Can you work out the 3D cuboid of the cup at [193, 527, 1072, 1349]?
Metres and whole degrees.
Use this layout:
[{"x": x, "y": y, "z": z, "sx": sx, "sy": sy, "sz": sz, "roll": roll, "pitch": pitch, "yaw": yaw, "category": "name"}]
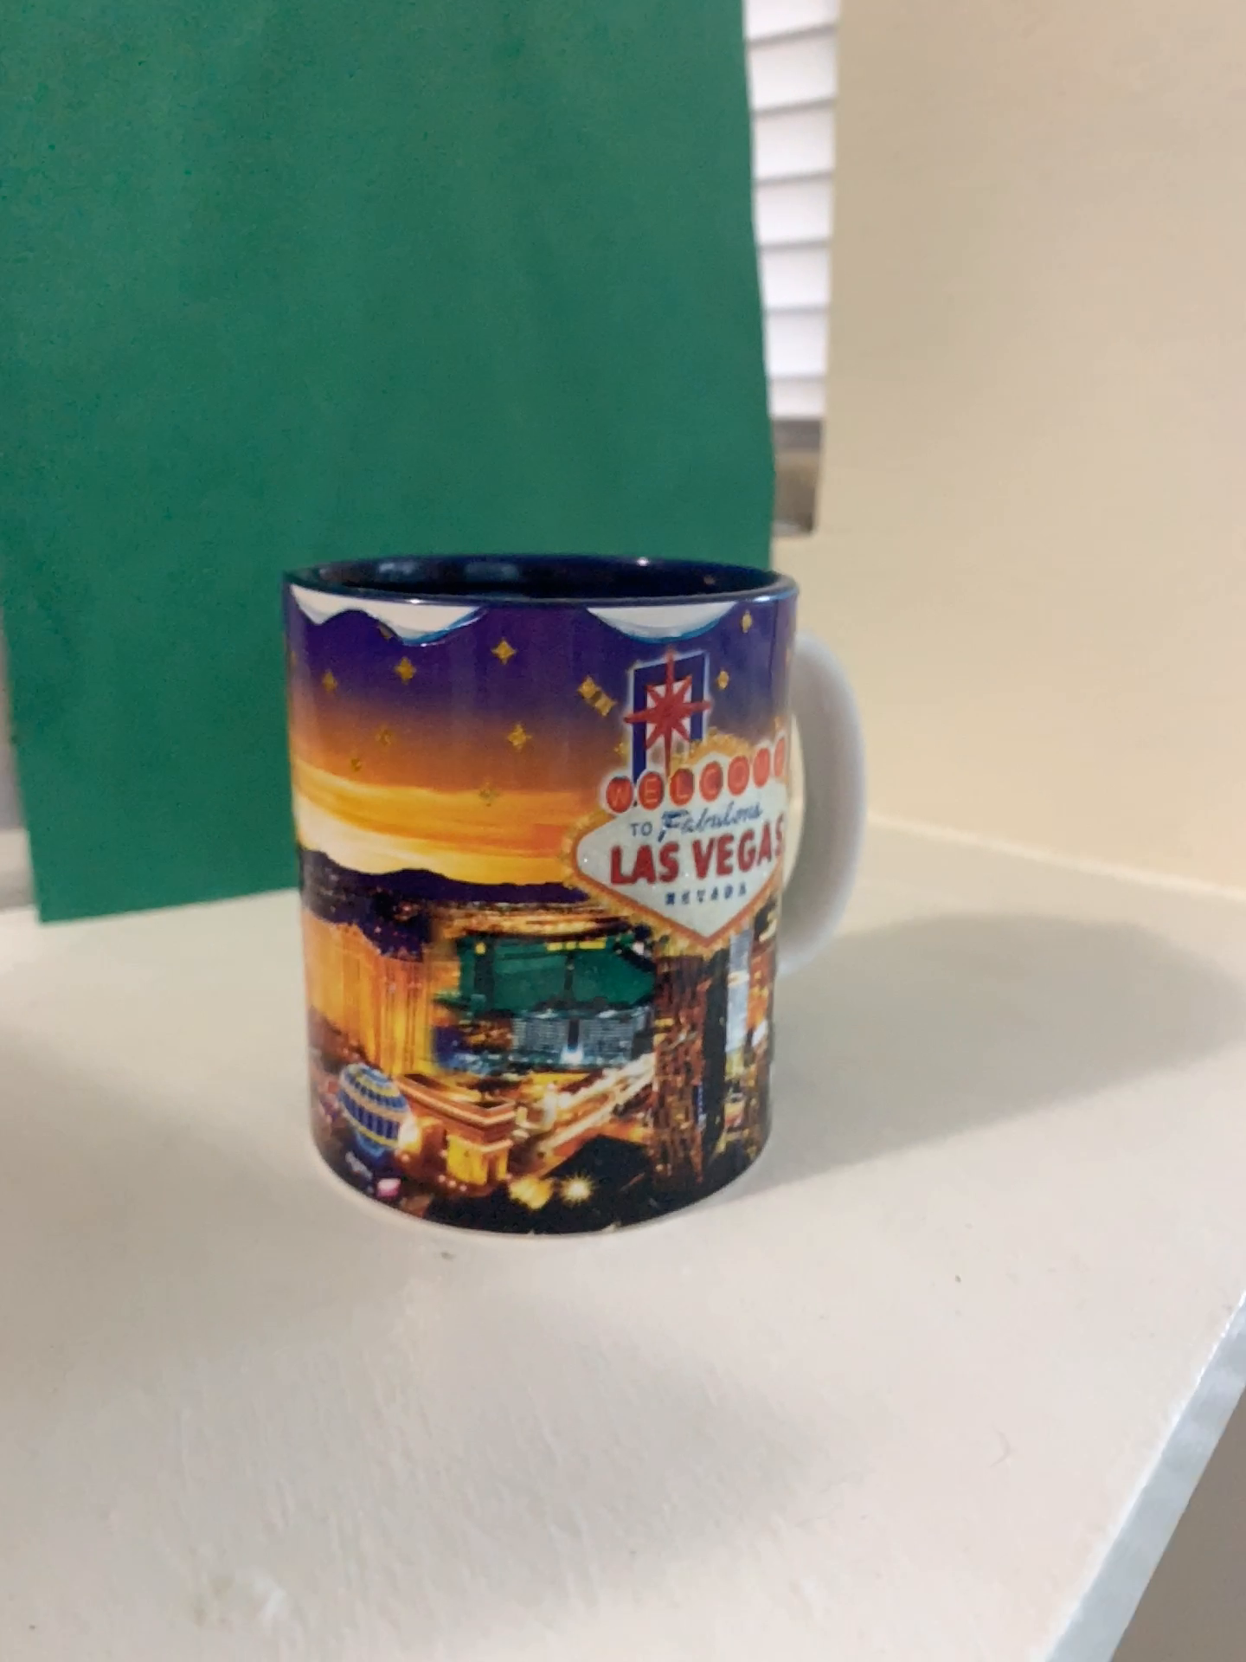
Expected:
[{"x": 0.003, "y": 0.002, "z": 0.229, "sx": 0.120, "sy": 0.100, "sz": 0.080, "roll": -12, "pitch": 20, "yaw": -37, "category": "cup"}]
